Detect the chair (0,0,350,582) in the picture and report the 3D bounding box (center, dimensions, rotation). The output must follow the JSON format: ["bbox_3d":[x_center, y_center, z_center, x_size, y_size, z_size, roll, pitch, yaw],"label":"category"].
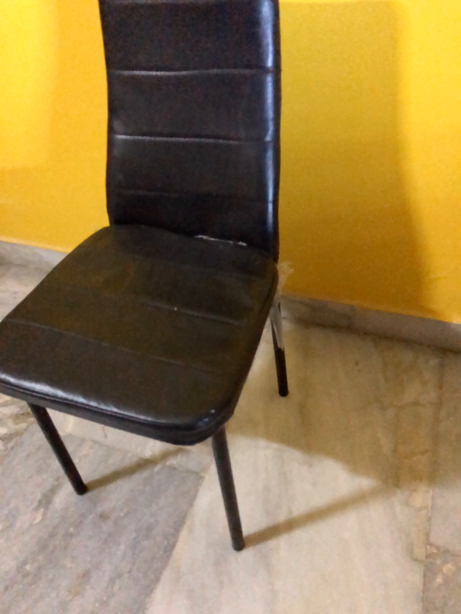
[{"bbox_3d":[-0.131,-0.055,0.857,0.480,0.904,0.534,12,45,19],"label":"chair"}]
